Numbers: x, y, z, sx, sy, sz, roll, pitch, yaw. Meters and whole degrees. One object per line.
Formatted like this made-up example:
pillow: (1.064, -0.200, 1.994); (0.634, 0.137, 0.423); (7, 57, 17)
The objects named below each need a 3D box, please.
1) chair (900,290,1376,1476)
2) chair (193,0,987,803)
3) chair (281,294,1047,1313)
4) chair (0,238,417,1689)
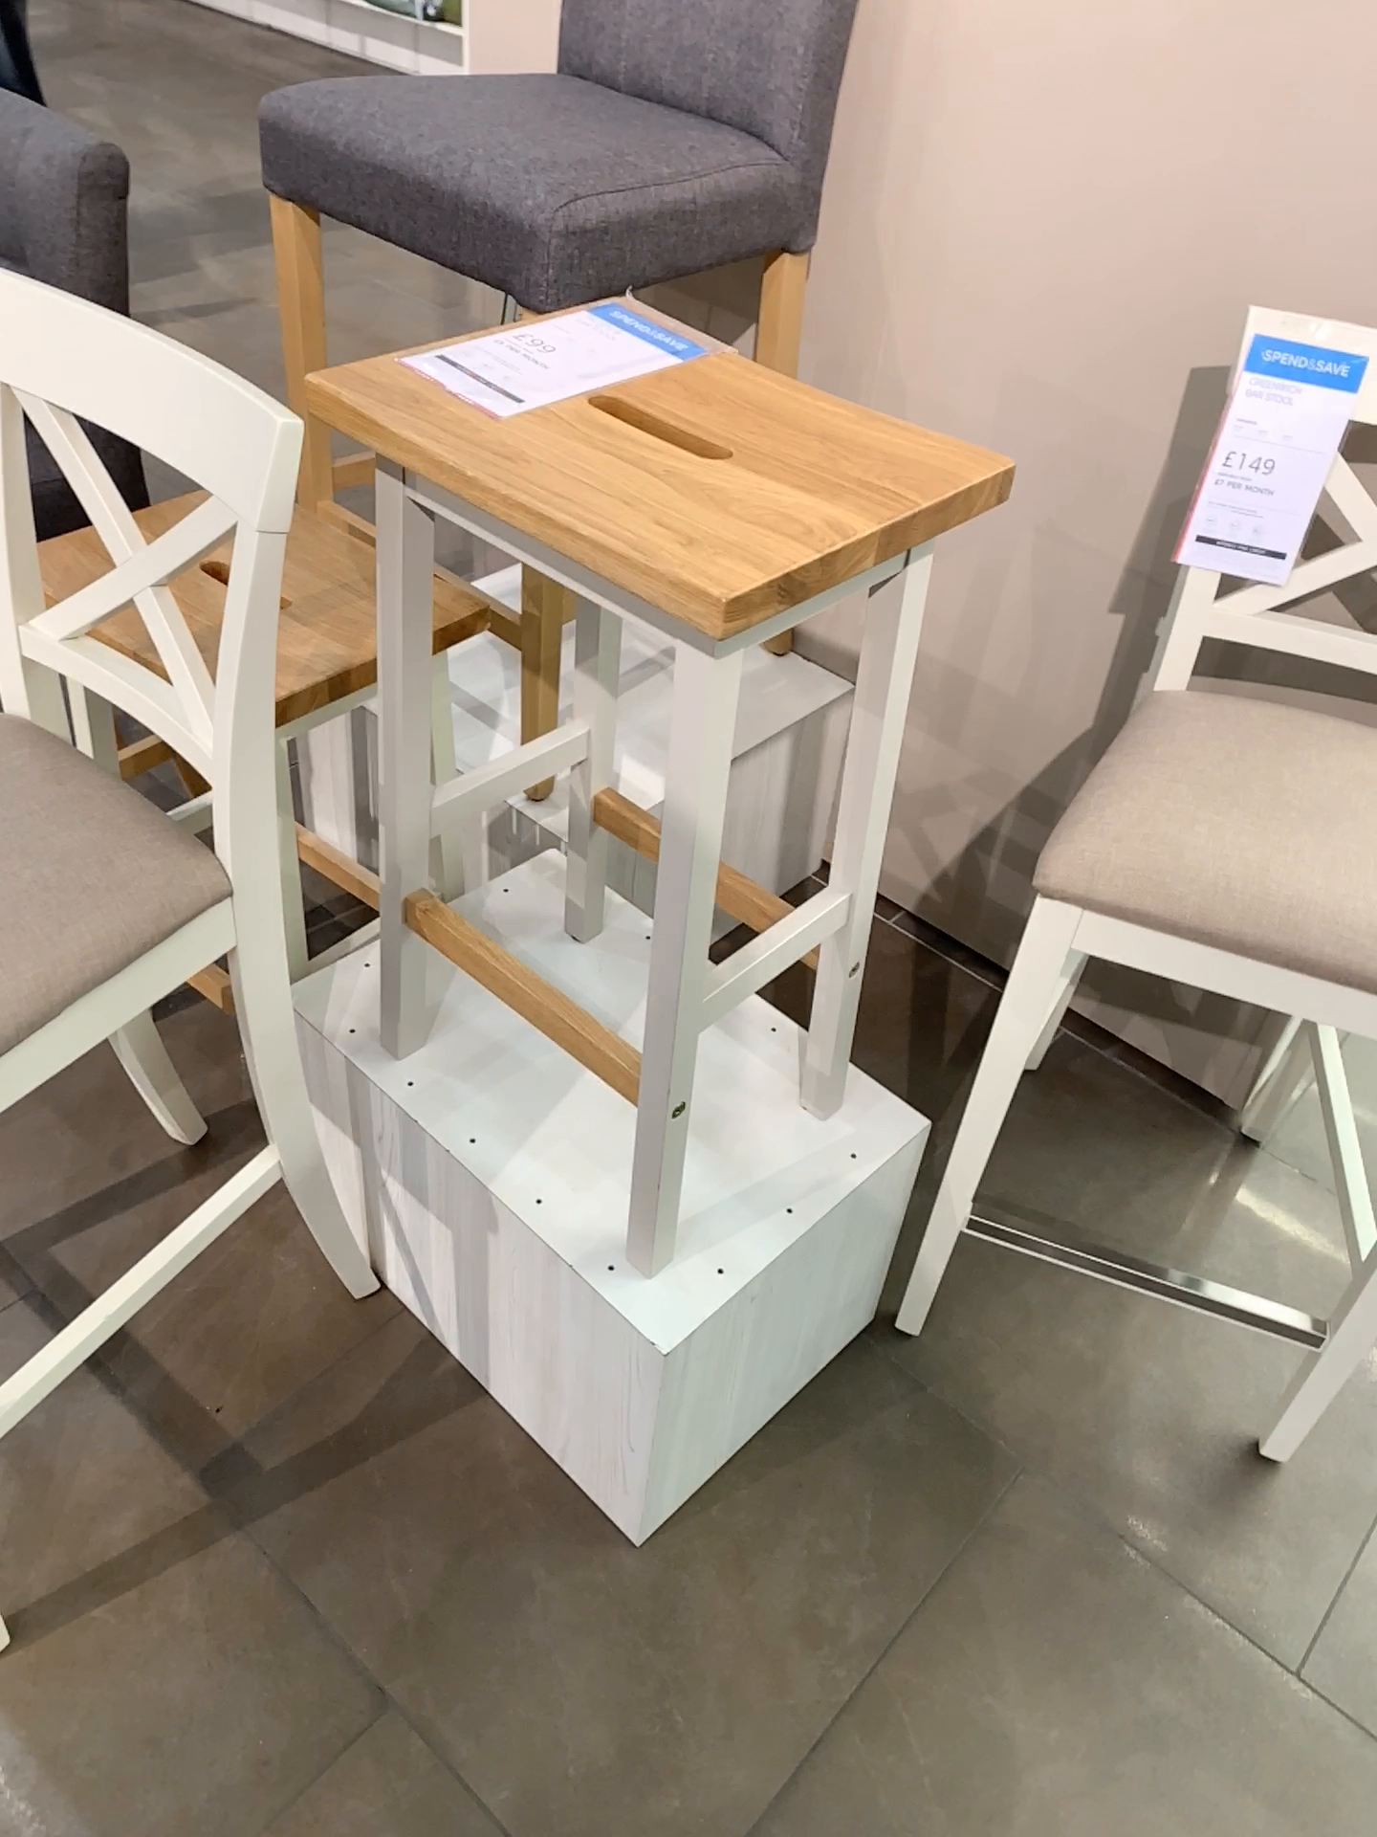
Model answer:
chair: (0.551, -0.004, 1.354); (0.417, 0.944, 0.516); (17, 41, 11)
chair: (-0.118, -0.738, 1.567); (0.469, 0.984, 0.534); (33, 47, 28)
chair: (-0.045, -0.088, 1.134); (0.399, 0.637, 0.323); (34, 47, 28)
chair: (-0.571, 0.064, 1.122); (0.438, 0.954, 0.504); (28, 45, 24)
